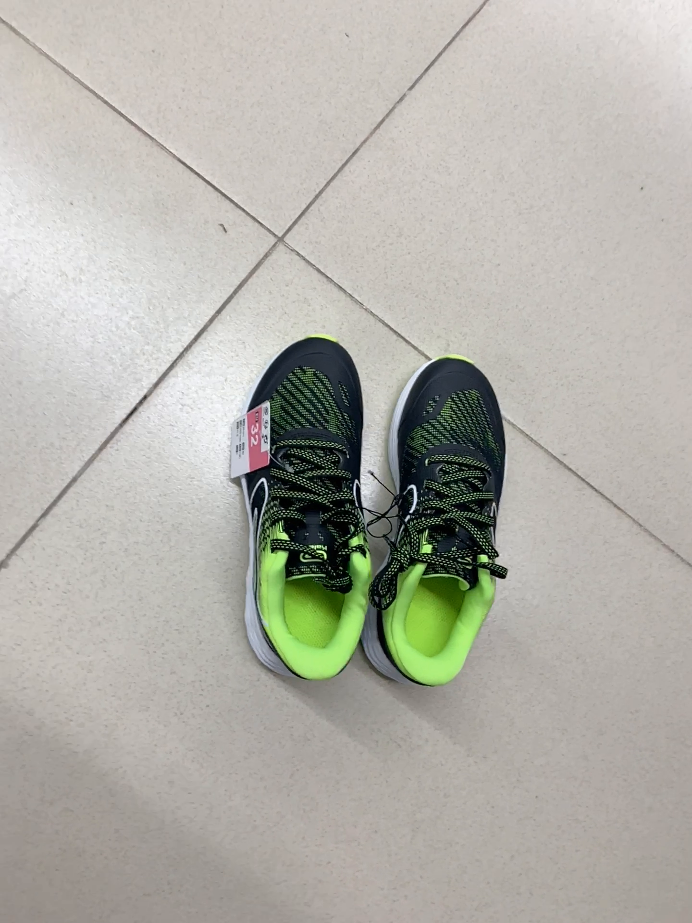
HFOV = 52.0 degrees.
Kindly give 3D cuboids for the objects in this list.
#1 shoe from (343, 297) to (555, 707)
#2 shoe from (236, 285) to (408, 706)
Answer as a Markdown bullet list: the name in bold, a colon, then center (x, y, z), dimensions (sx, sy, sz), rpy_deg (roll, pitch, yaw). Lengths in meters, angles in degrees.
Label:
- **shoe**: center (0.066, 0.029, 0.486), dimensions (0.090, 0.110, 0.240), rpy_deg (9, 81, -9)
- **shoe**: center (-0.019, 0.024, 0.464), dimensions (0.090, 0.110, 0.240), rpy_deg (3, 82, -9)
